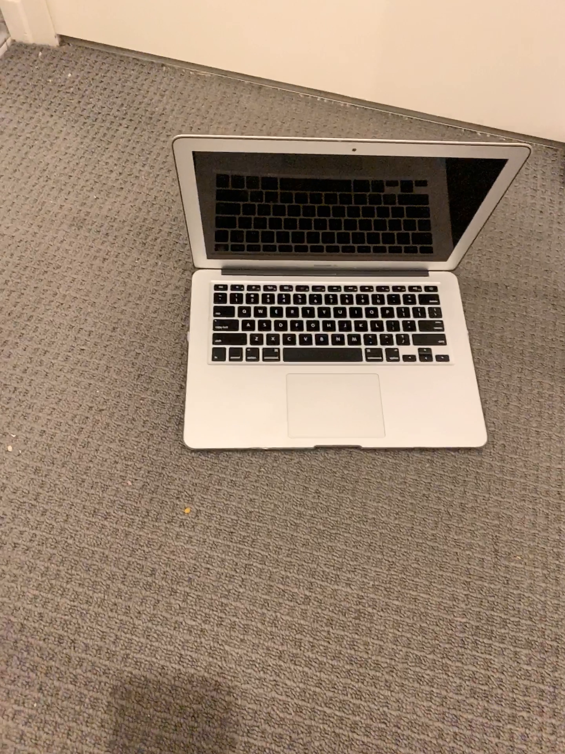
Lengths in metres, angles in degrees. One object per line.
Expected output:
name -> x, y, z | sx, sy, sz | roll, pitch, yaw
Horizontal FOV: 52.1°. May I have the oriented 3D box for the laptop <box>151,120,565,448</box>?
laptop -> 0.059, -0.077, 0.566 | 0.322, 0.215, 0.227 | 0, 63, -3
